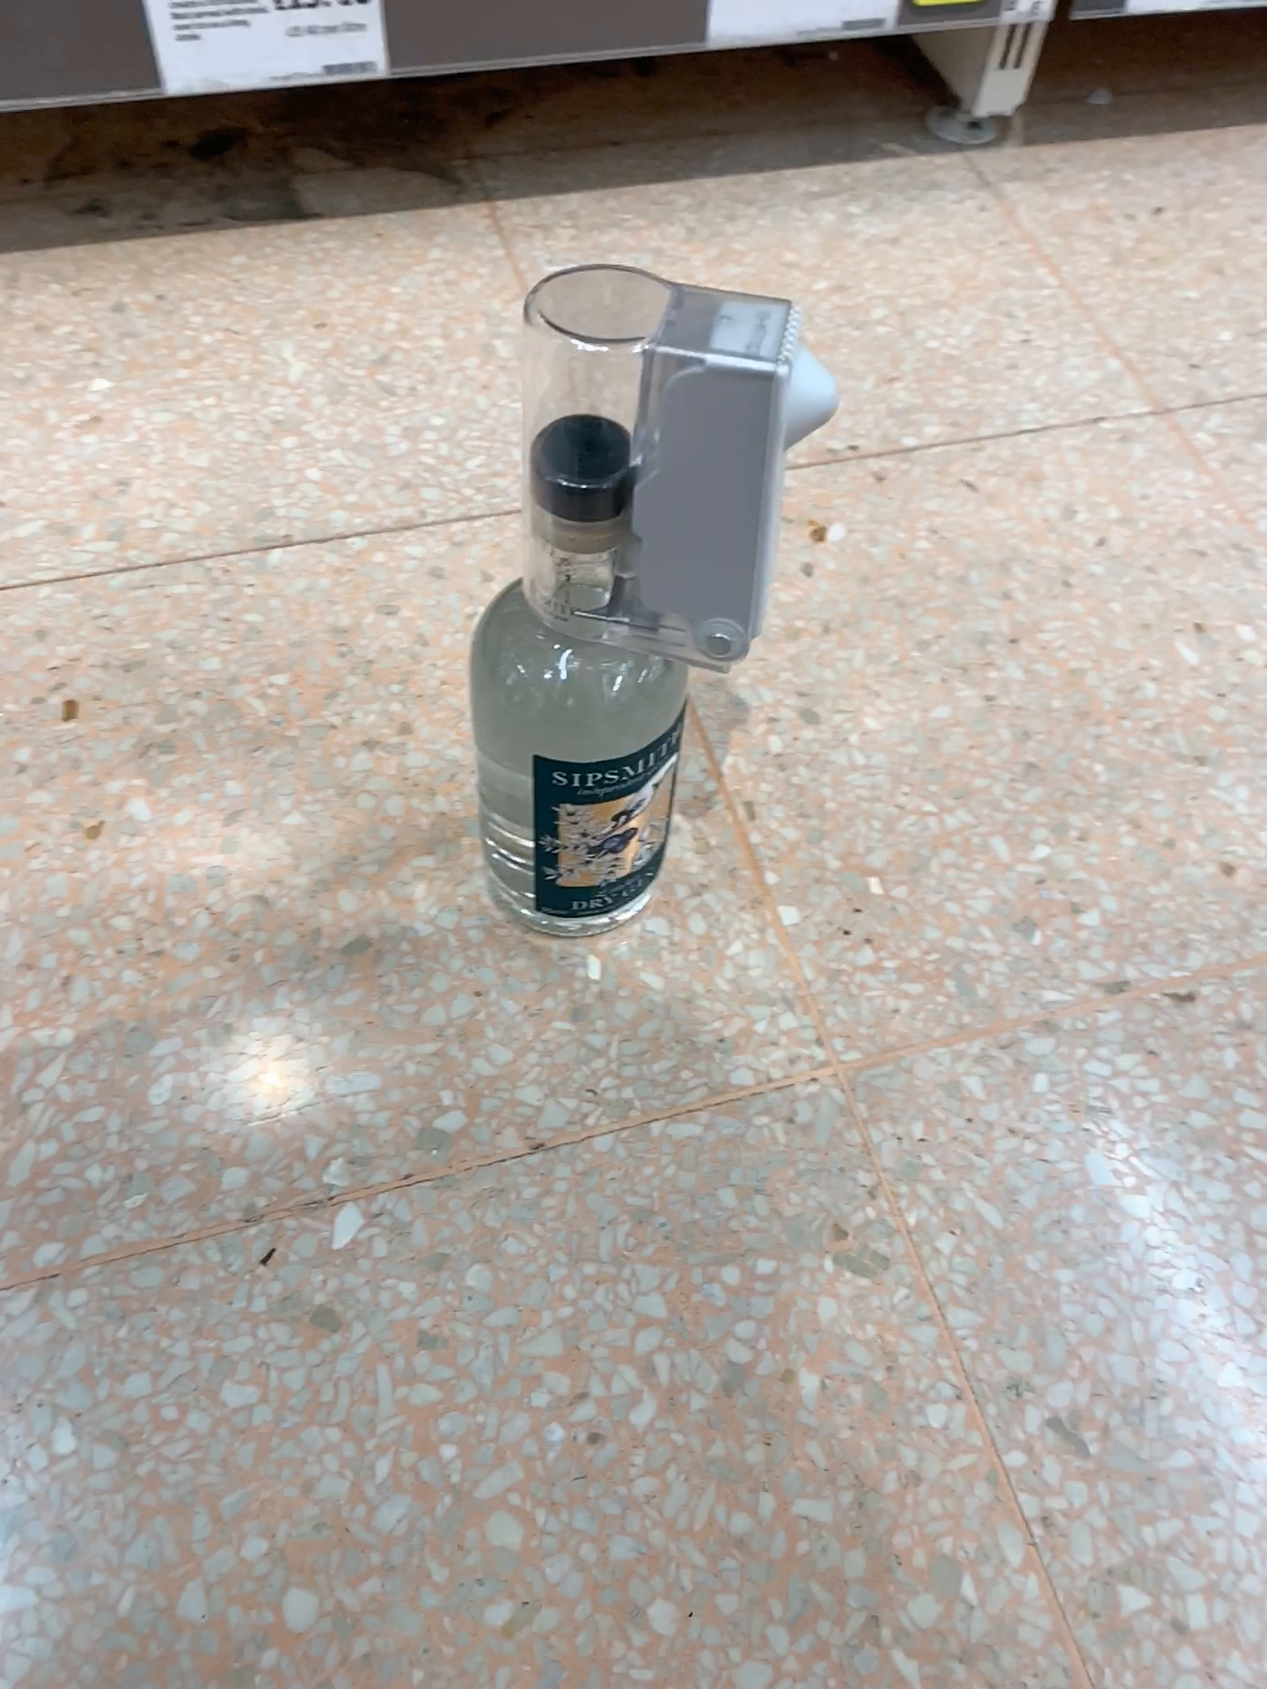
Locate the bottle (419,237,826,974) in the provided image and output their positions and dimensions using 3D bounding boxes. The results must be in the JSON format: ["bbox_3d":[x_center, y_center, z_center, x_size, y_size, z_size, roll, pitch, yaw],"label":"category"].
[{"bbox_3d":[-0.010,-0.054,0.392,0.074,0.222,0.069,2,56,-3],"label":"bottle"}]
